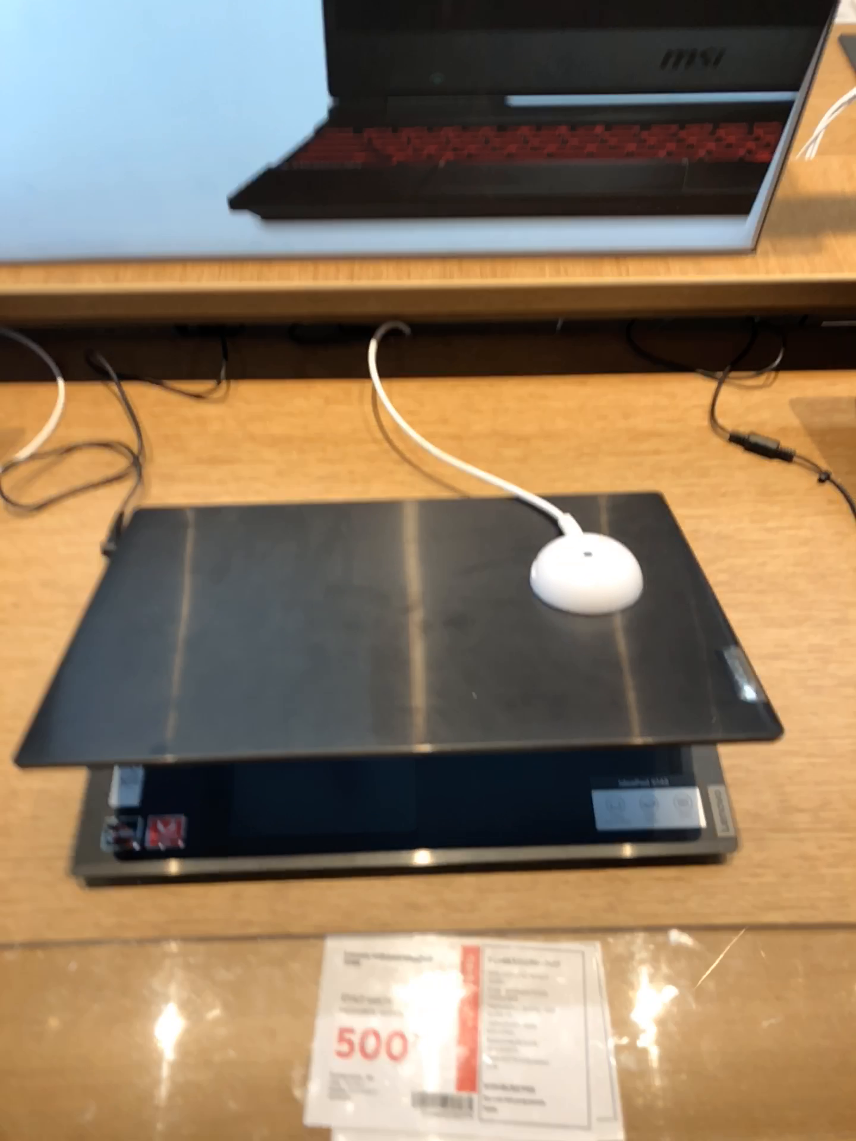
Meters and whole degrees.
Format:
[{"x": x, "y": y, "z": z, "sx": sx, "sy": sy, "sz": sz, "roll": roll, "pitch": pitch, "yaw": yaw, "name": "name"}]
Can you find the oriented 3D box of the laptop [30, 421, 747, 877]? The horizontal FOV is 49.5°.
[{"x": -0.016, "y": 0.034, "z": 0.522, "sx": 0.330, "sy": 0.083, "sz": 0.224, "roll": -2, "pitch": 57, "yaw": -4, "name": "laptop"}]
